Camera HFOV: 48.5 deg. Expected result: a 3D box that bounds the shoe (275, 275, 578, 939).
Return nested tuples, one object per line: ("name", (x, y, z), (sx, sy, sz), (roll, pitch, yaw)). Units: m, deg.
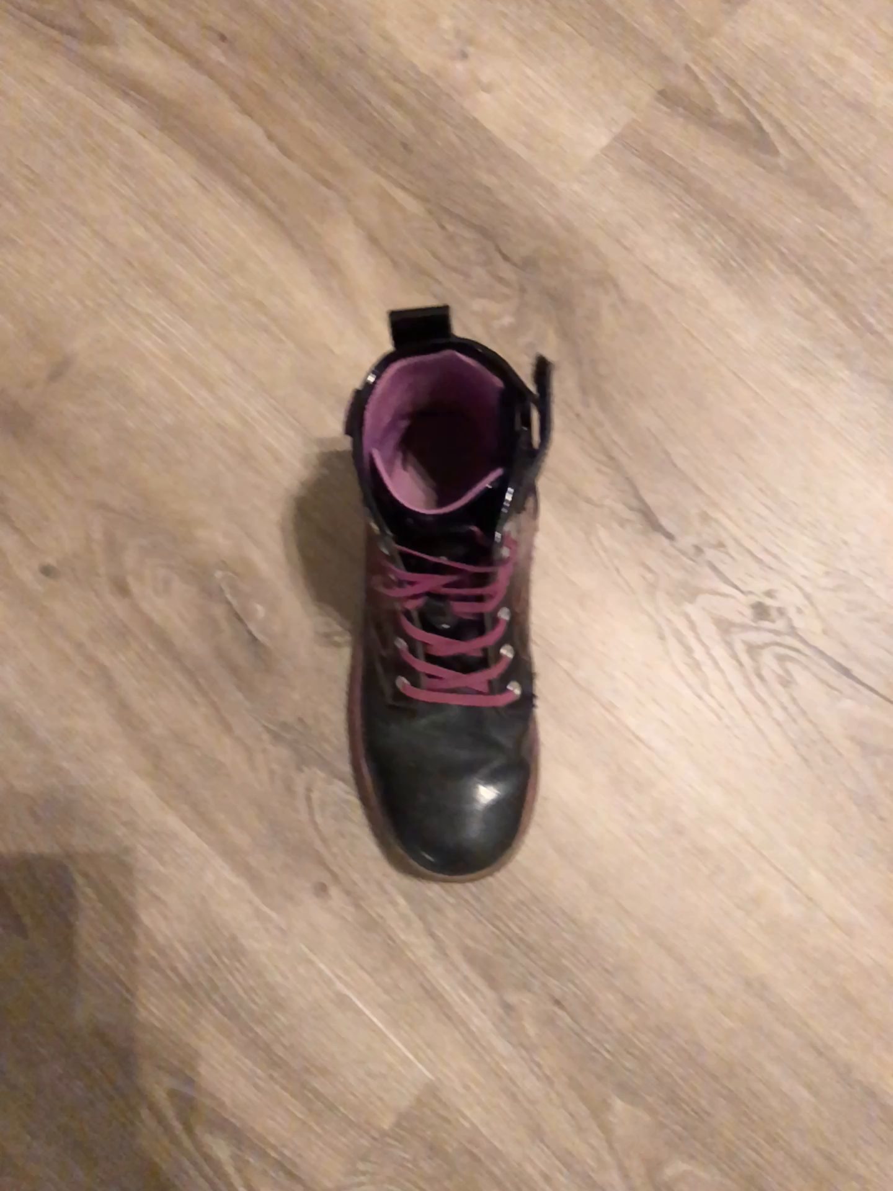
("shoe", (-0.004, 0.009, 0.417), (0.100, 0.150, 0.230), (0, 82, 2))
